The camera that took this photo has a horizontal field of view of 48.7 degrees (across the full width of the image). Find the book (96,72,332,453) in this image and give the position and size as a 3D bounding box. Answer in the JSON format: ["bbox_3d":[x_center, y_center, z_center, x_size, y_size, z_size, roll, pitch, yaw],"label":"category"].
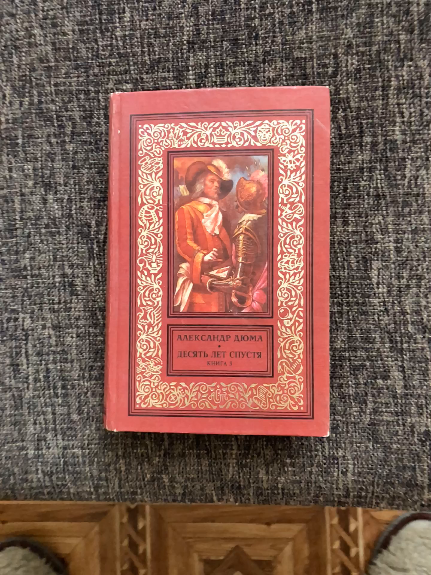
[{"bbox_3d":[-0.001,-0.014,0.283,0.131,0.038,0.206,0,89,6],"label":"book"}]
